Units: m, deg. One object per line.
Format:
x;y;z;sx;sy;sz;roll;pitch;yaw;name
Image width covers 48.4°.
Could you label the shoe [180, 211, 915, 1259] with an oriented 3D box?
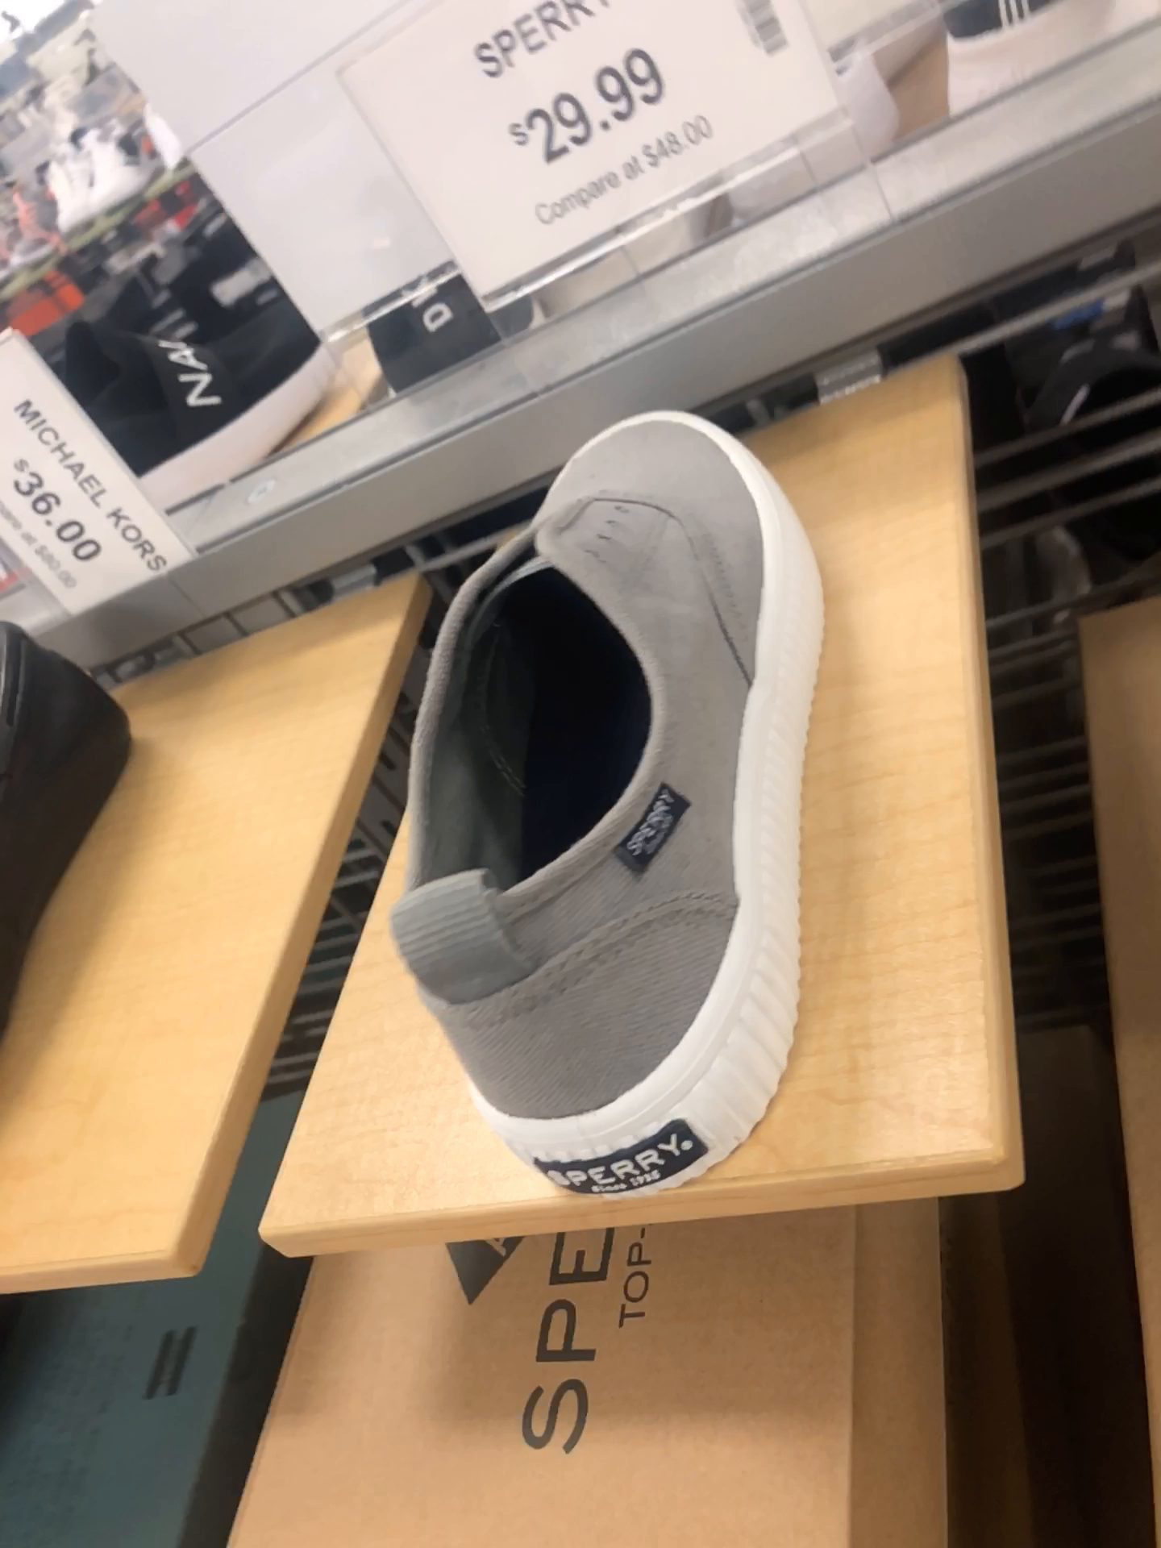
0.004;-0.030;0.310;0.097;0.081;0.252;-19;38;21;shoe
